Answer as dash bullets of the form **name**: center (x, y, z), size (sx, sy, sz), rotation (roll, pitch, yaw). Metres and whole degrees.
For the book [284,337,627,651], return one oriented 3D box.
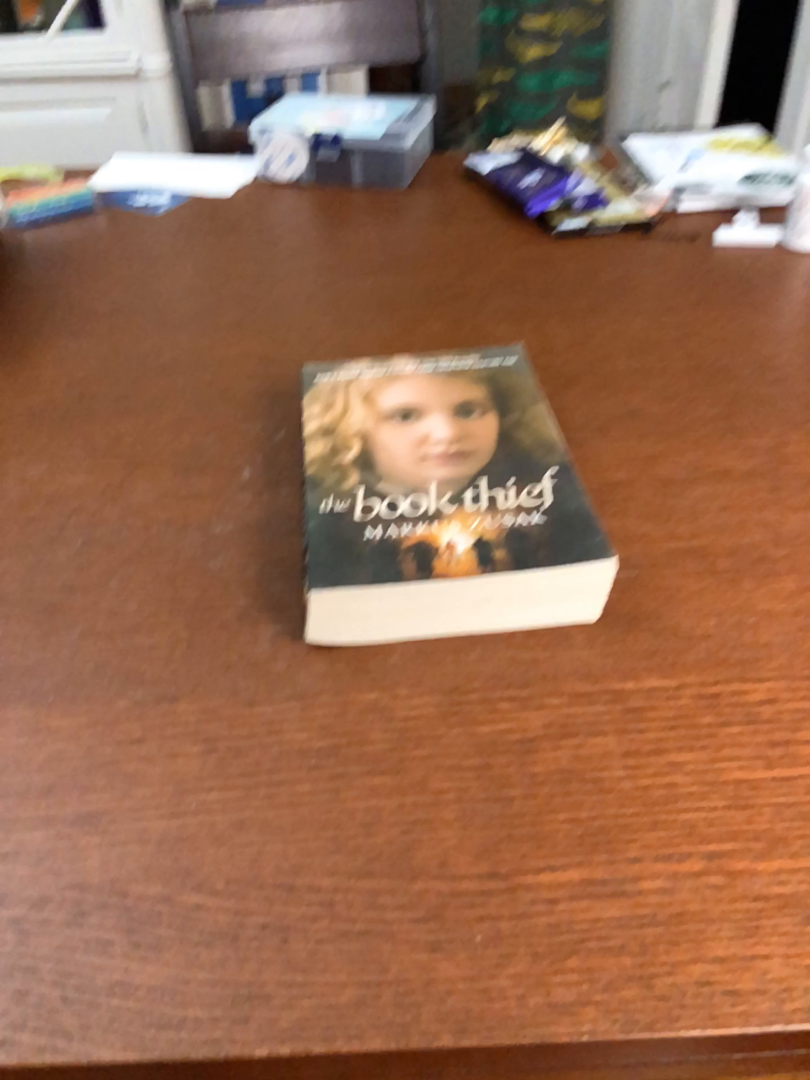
- **book**: center (0.012, -0.039, 0.482), size (0.150, 0.030, 0.221), rotation (-5, 40, -3)
